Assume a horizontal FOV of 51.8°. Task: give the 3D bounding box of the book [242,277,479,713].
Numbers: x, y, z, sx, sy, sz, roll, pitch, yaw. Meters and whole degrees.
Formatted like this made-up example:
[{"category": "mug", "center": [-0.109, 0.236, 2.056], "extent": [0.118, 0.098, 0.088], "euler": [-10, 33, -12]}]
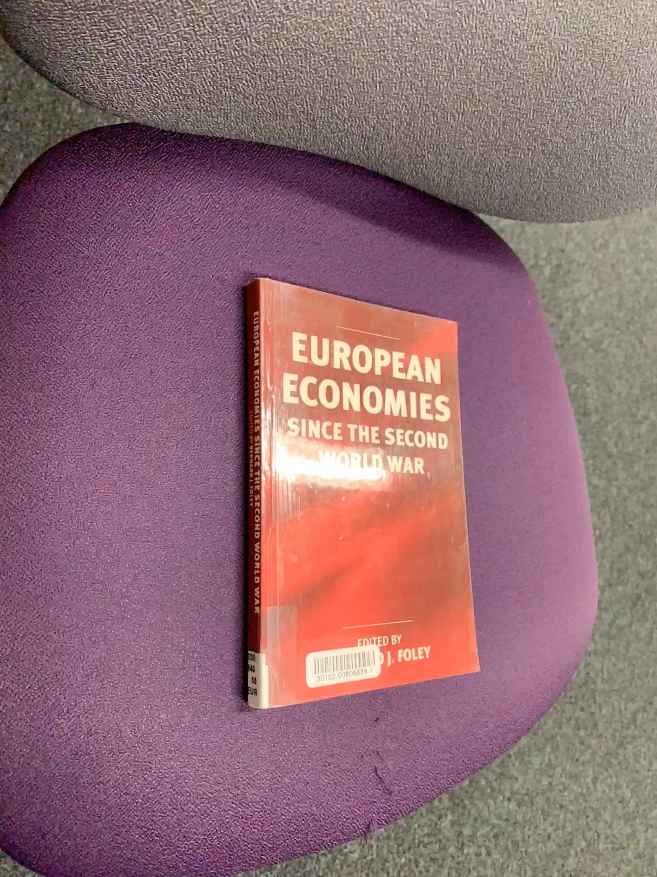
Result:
[{"category": "book", "center": [0.022, 0.030, 0.398], "extent": [0.149, 0.020, 0.225], "euler": [5, 79, -33]}]
